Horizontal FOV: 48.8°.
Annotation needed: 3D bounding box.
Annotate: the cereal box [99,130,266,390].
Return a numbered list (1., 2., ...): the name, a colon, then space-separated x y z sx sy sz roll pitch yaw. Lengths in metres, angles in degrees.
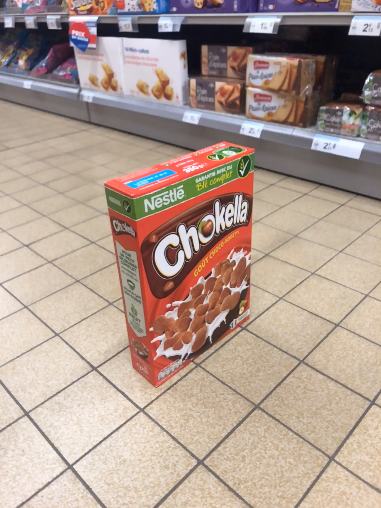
1. cereal box: 0.003 0.005 0.544 0.201 0.278 0.060 -27 38 -36
